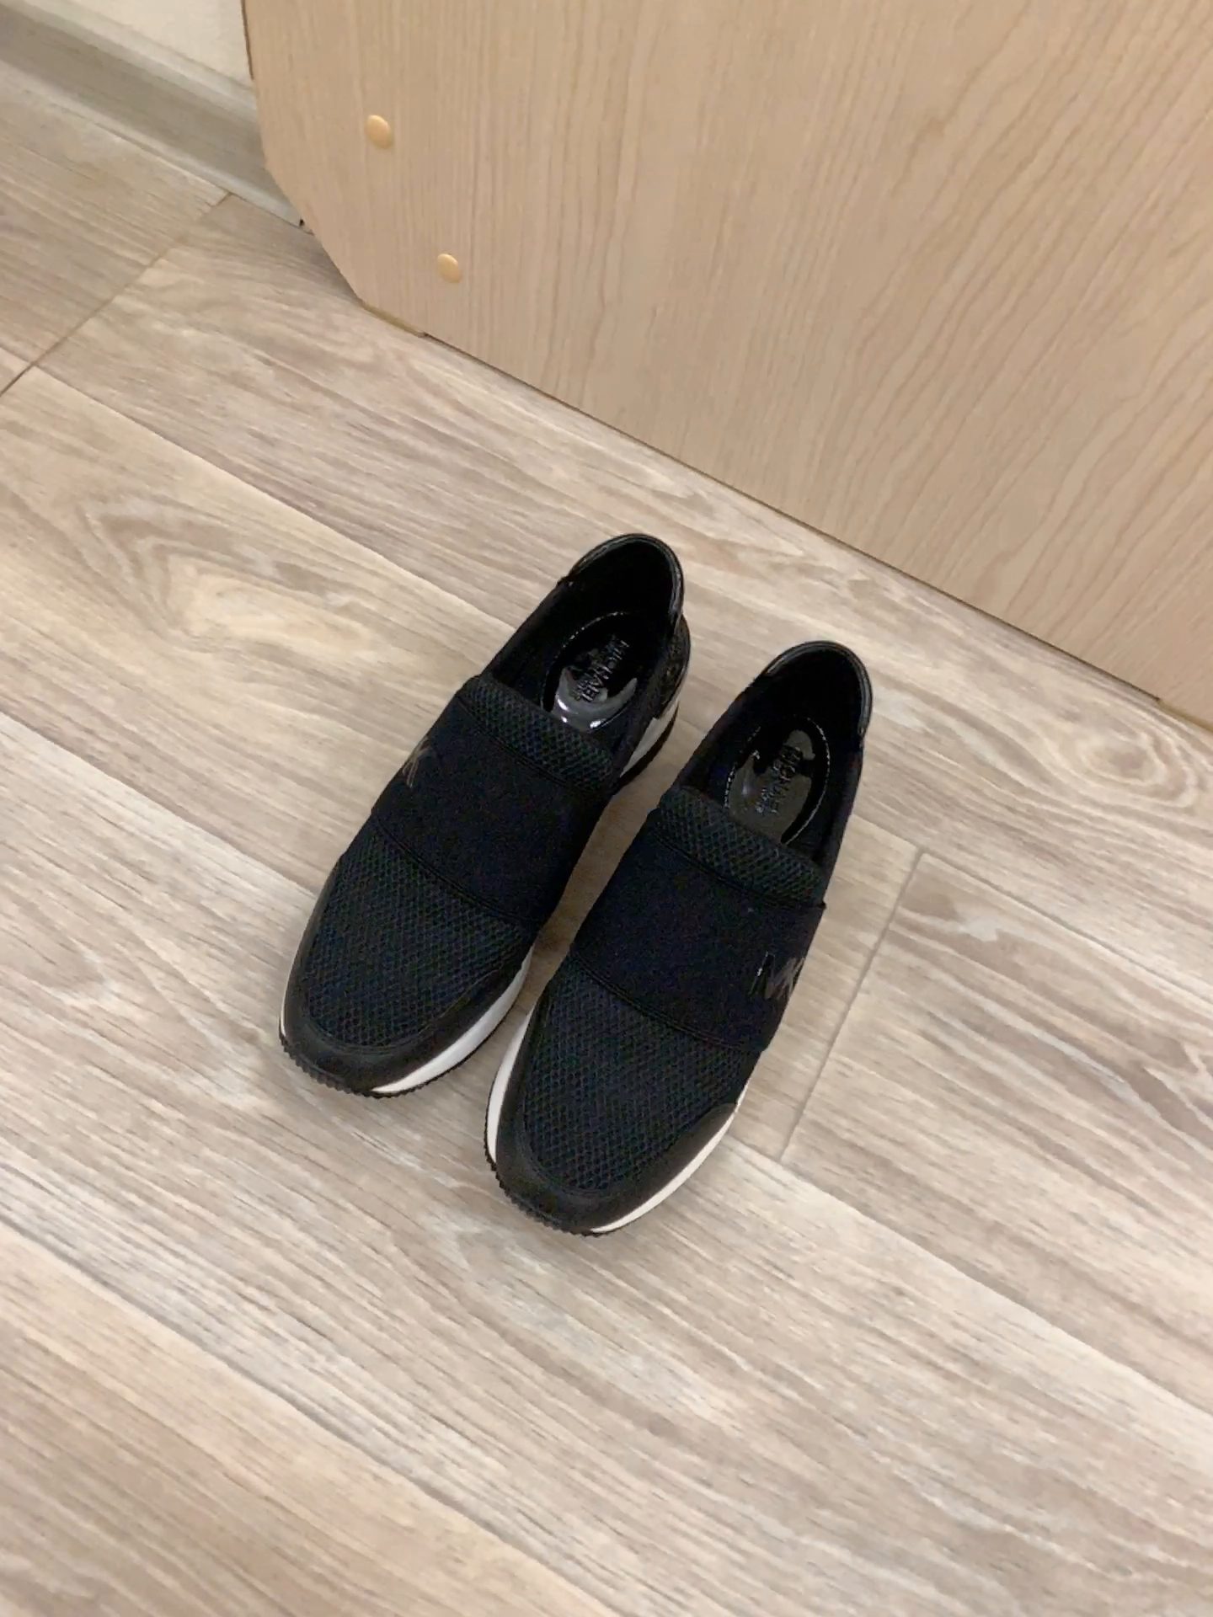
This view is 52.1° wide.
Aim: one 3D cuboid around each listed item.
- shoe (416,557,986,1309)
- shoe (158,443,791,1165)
[{"bbox_3d":[0.038,0.046,0.493,0.098,0.120,0.261,29,63,7],"label":"shoe"},{"bbox_3d":[-0.043,-0.006,0.504,0.098,0.120,0.261,32,63,8],"label":"shoe"}]
